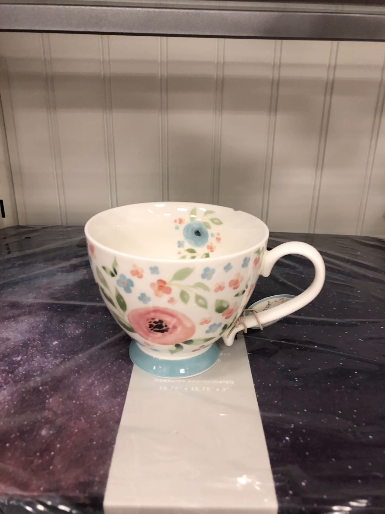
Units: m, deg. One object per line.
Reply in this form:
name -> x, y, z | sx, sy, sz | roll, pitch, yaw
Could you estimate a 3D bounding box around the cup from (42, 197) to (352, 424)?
cup -> 0.008, 0.020, 0.266 | 0.150, 0.079, 0.111 | 6, 23, 11
